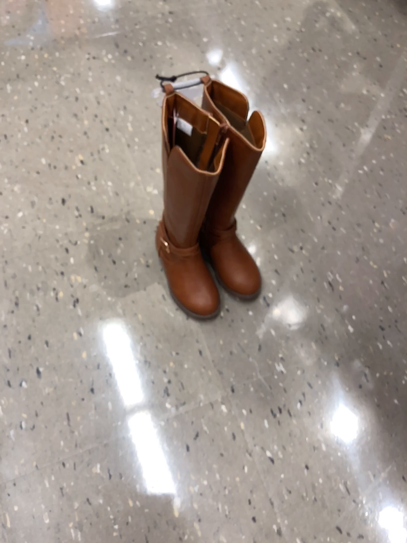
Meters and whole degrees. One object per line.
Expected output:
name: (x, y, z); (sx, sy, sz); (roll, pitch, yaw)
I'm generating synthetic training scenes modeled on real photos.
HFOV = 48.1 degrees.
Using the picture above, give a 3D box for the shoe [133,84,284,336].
shoe: (-0.016, -0.058, 0.576); (0.070, 0.270, 0.180); (-24, 67, -21)

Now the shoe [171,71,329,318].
shoe: (0.036, -0.081, 0.601); (0.070, 0.270, 0.190); (-29, 69, -17)
